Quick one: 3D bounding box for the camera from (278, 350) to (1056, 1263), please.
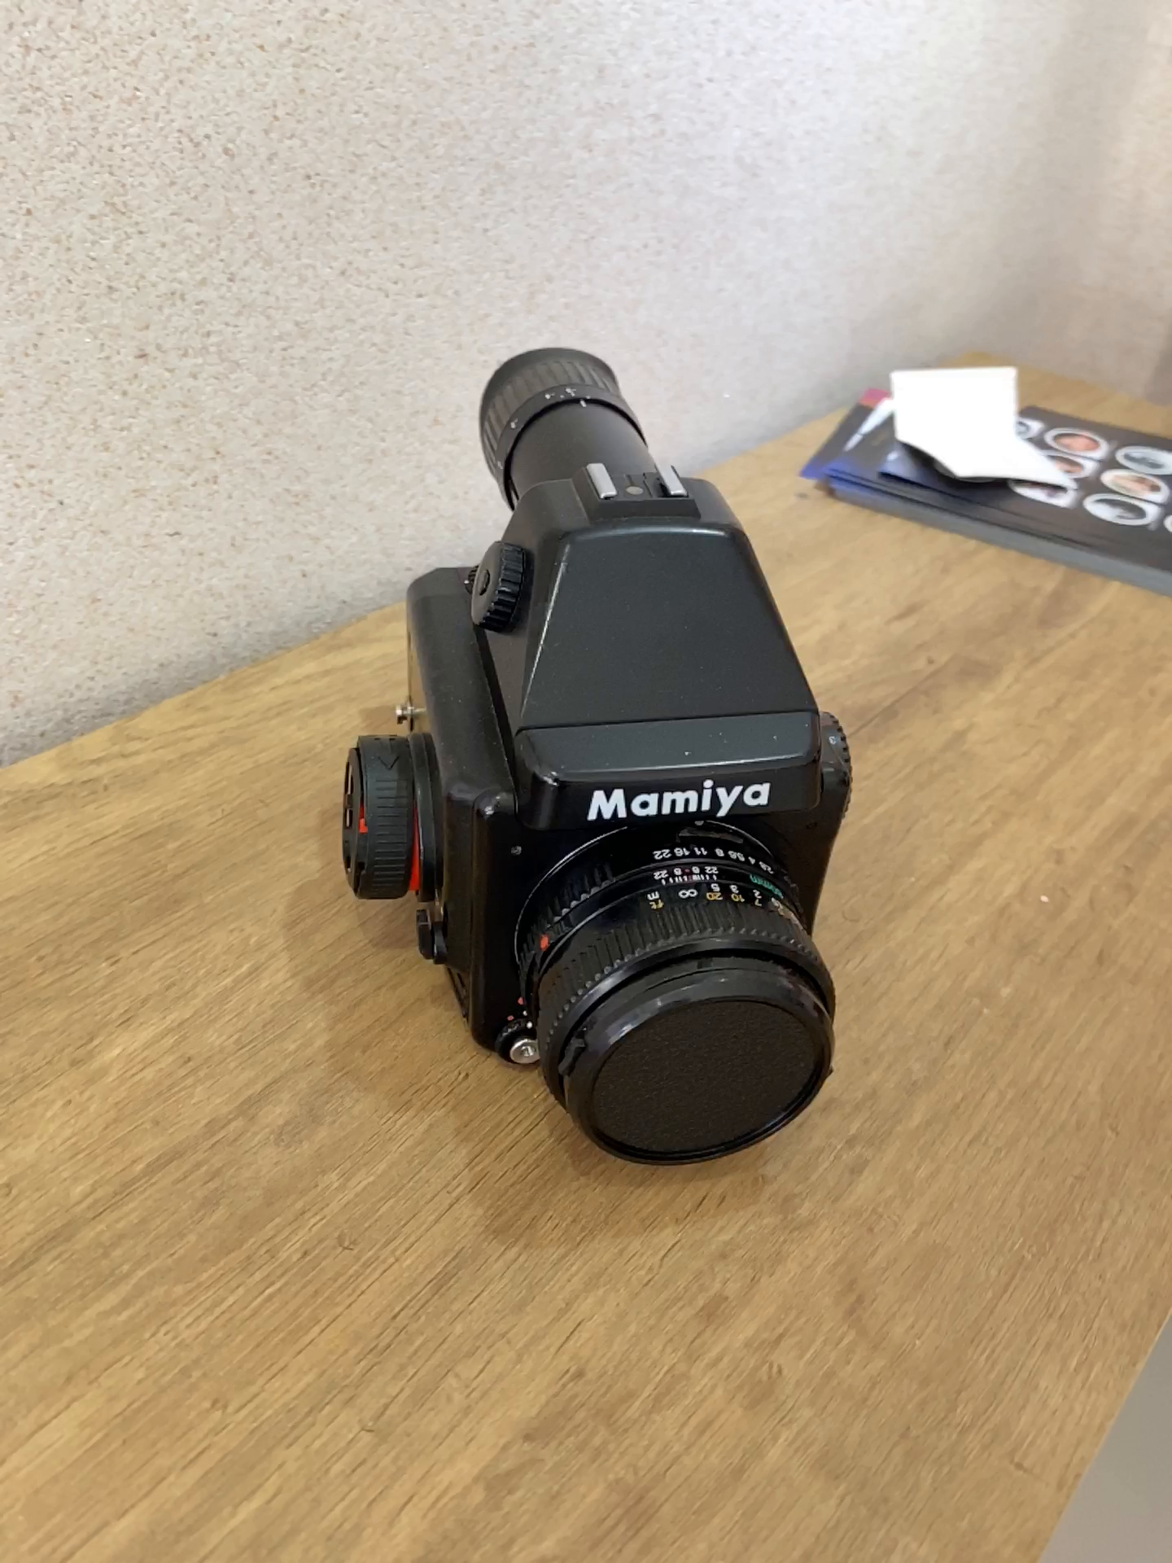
[{"bbox_3d":[-0.007,-0.018,0.313,0.120,0.109,0.221,-6,38,-13],"label":"camera"}]
